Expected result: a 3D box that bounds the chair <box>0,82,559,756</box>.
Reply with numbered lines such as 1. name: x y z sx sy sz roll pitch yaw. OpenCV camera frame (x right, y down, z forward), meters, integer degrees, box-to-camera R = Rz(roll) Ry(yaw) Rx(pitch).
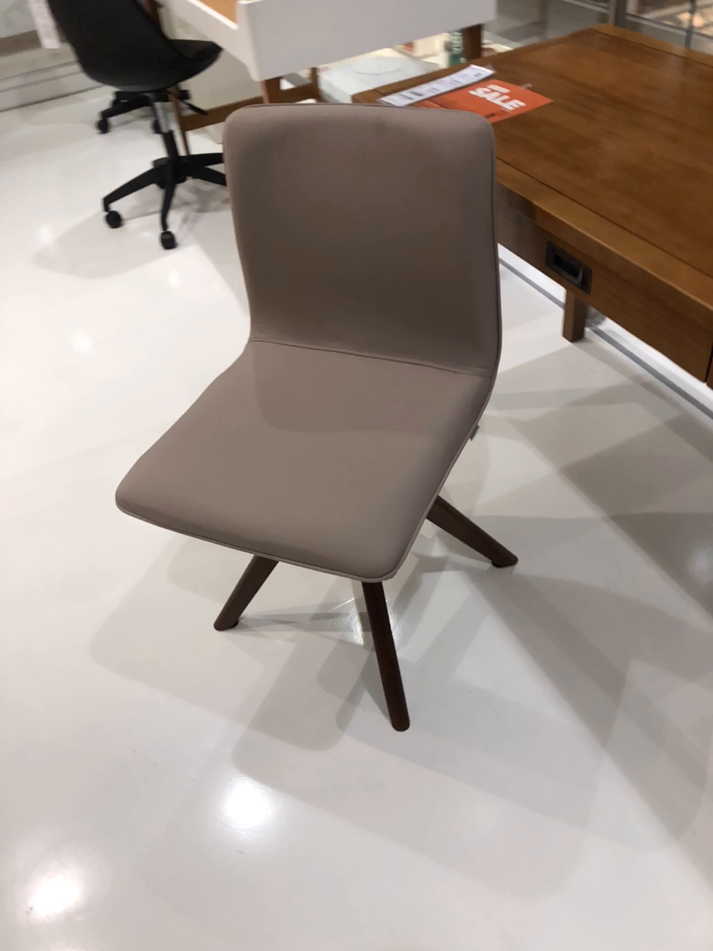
1. chair: -0.036 -0.086 1.238 0.541 0.833 0.533 12 46 22
